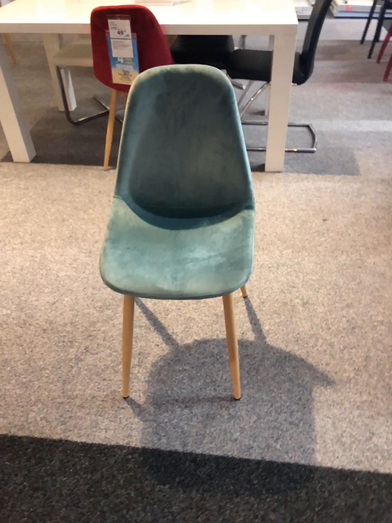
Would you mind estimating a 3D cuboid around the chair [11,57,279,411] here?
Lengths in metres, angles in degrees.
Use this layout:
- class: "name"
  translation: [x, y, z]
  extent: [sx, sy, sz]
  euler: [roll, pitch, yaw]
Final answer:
- class: "chair"
  translation: [-0.072, -0.055, 1.228]
  extent: [0.470, 0.835, 0.553]
  euler: [0, 40, 2]
